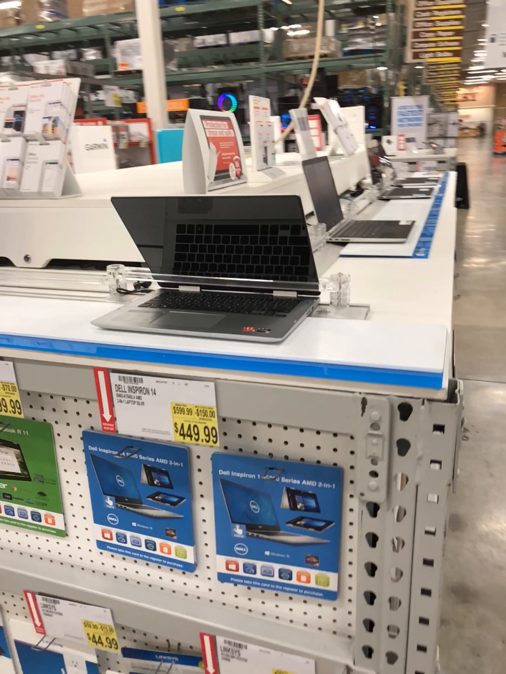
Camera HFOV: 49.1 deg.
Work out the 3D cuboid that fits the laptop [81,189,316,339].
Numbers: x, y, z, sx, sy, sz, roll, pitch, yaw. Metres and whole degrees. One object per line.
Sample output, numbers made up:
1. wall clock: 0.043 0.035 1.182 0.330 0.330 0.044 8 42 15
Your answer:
1. laptop: -0.073 -0.131 0.888 0.307 0.183 0.210 5 21 21
